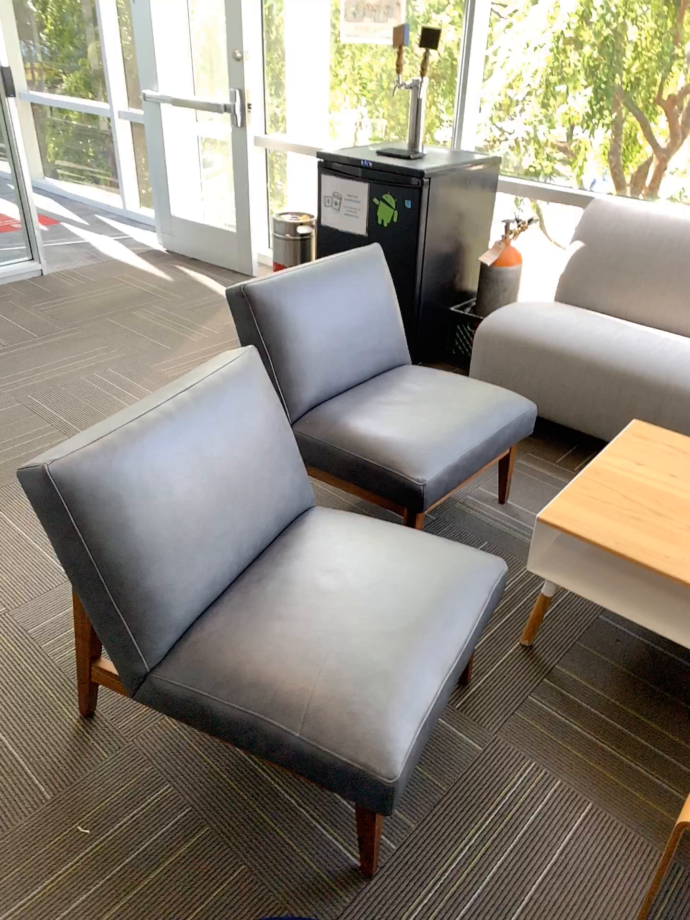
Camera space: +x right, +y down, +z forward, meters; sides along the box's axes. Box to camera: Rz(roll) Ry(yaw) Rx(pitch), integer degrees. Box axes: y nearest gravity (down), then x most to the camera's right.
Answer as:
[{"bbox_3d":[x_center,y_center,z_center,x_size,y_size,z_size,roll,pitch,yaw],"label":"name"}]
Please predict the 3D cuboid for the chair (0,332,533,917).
[{"bbox_3d":[-0.159,0.272,1.560,0.852,0.766,0.682,17,35,23],"label":"chair"}]

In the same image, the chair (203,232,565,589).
[{"bbox_3d":[0.117,-0.236,2.380,0.853,0.766,0.742,24,38,31],"label":"chair"}]
